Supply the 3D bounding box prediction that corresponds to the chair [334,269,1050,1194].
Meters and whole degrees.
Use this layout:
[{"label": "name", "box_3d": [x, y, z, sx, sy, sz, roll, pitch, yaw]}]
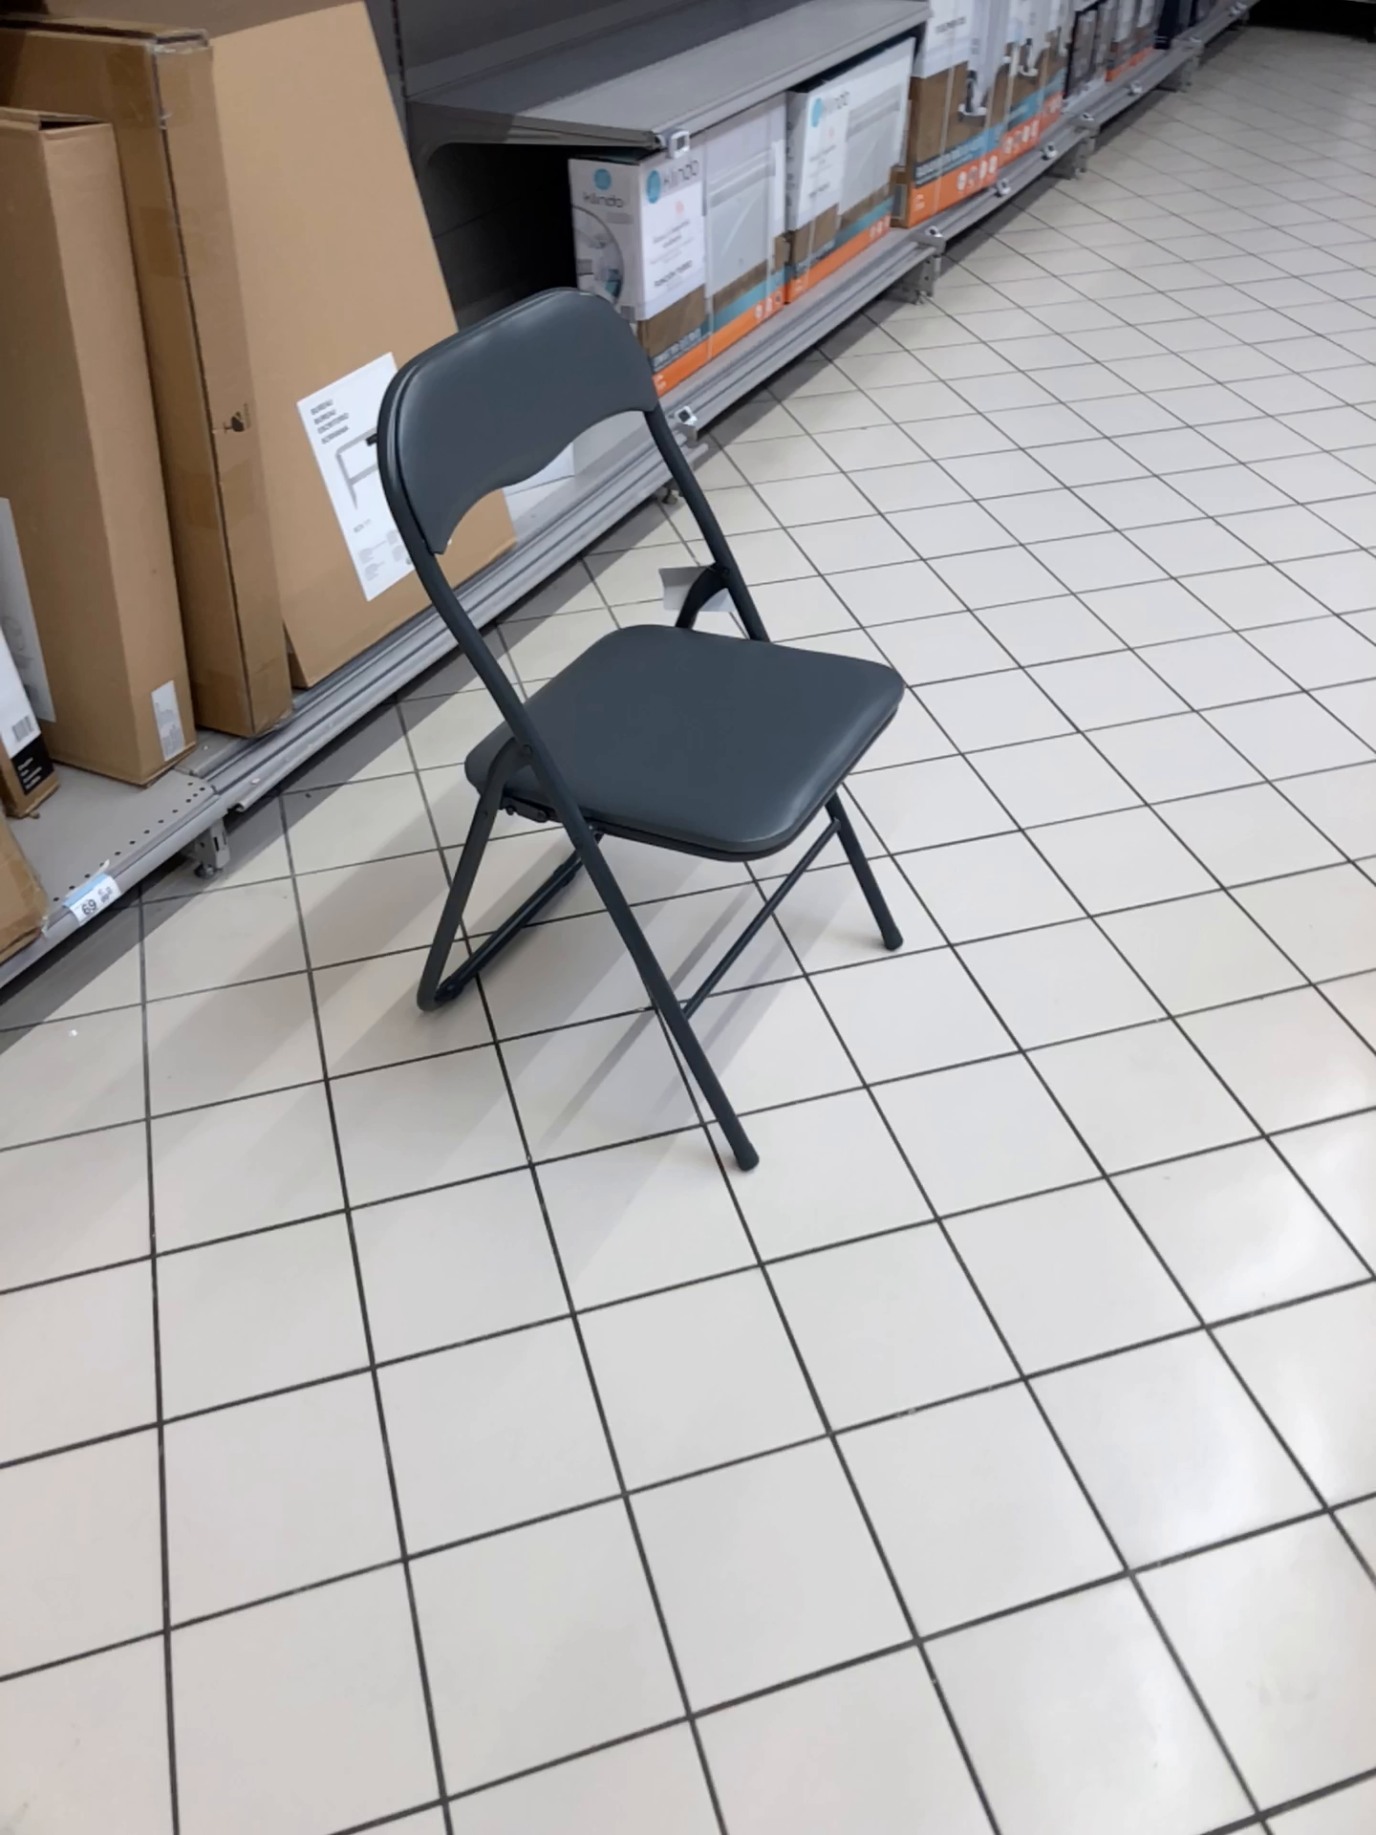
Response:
[{"label": "chair", "box_3d": [0.027, -0.220, 1.673, 0.500, 0.755, 0.554, 17, 41, 19]}]
